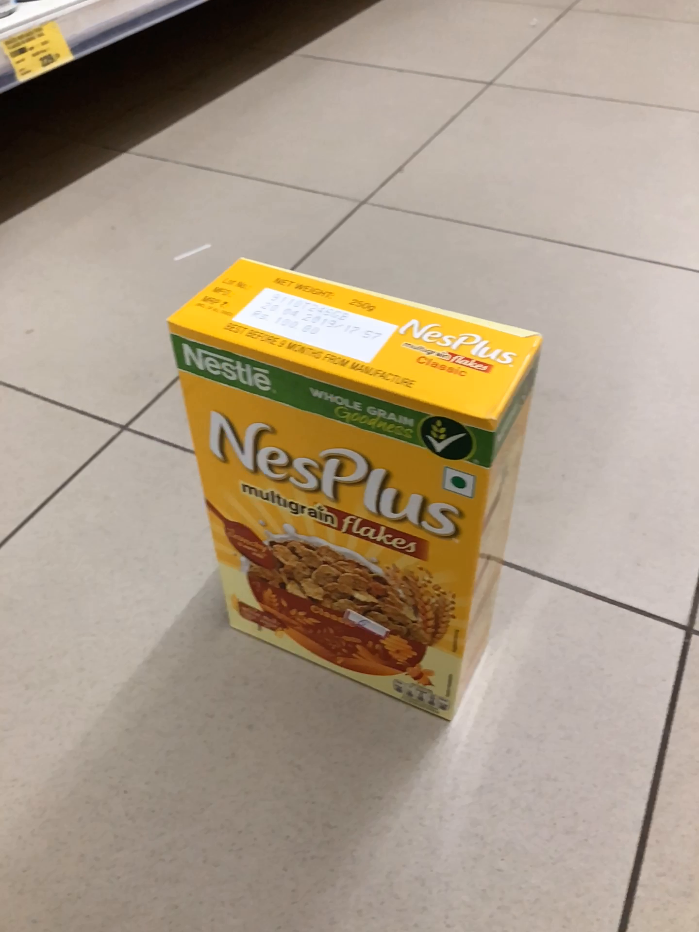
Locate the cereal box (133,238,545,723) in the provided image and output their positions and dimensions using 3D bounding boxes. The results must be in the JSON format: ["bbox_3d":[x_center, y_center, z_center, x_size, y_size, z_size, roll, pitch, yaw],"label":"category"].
[{"bbox_3d":[-0.003,0.015,0.354,0.140,0.199,0.060,18,47,19],"label":"cereal box"}]
